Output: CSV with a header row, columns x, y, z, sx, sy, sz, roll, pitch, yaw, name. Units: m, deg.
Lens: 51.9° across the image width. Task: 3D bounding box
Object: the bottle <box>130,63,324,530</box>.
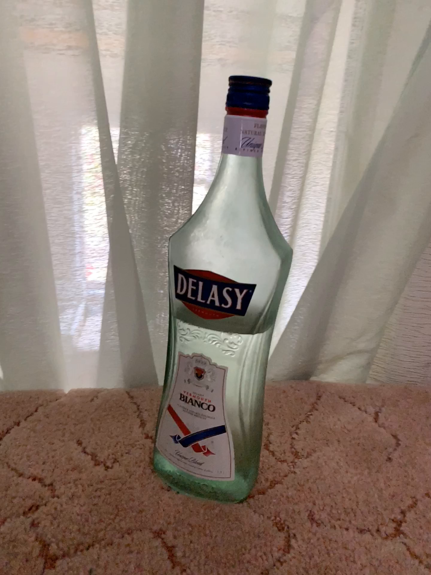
x,y,z,sx,sy,sz,roll,pitch,yaw,name
-0.002,0.014,0.339,0.110,0.328,0.060,13,21,25,bottle
